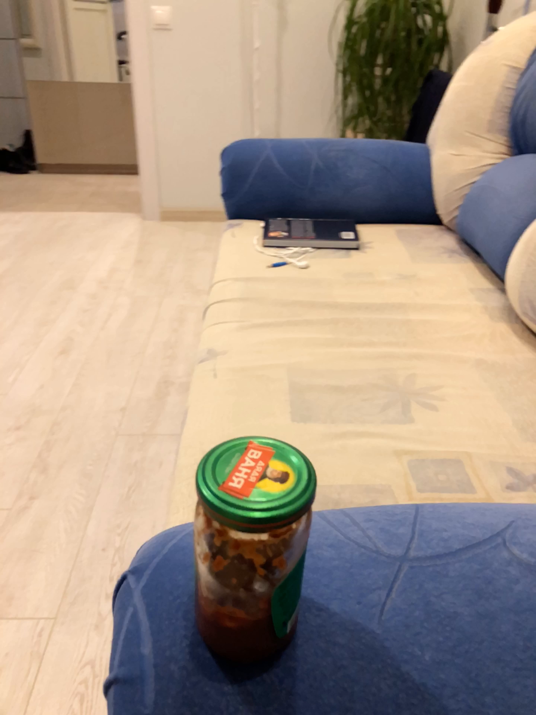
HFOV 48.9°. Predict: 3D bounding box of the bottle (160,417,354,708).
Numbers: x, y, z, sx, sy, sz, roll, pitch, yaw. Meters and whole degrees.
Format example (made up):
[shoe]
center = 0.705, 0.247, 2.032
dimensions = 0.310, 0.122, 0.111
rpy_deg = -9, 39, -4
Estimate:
[bottle]
center = -0.005, 0.088, 0.261
dimensions = 0.060, 0.092, 0.060
rpy_deg = 4, 29, -2
